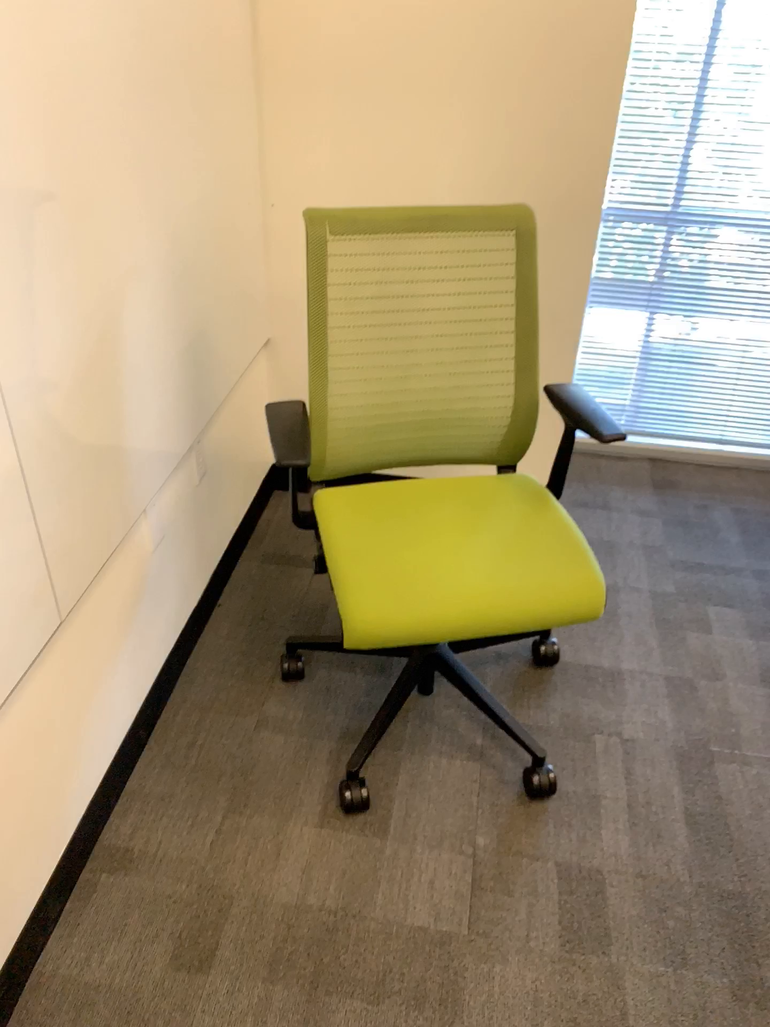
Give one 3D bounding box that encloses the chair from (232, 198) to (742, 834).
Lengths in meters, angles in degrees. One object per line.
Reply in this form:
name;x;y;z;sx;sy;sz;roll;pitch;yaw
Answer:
chair;0.074;-0.040;1.678;0.700;0.994;0.845;-4;35;-8
